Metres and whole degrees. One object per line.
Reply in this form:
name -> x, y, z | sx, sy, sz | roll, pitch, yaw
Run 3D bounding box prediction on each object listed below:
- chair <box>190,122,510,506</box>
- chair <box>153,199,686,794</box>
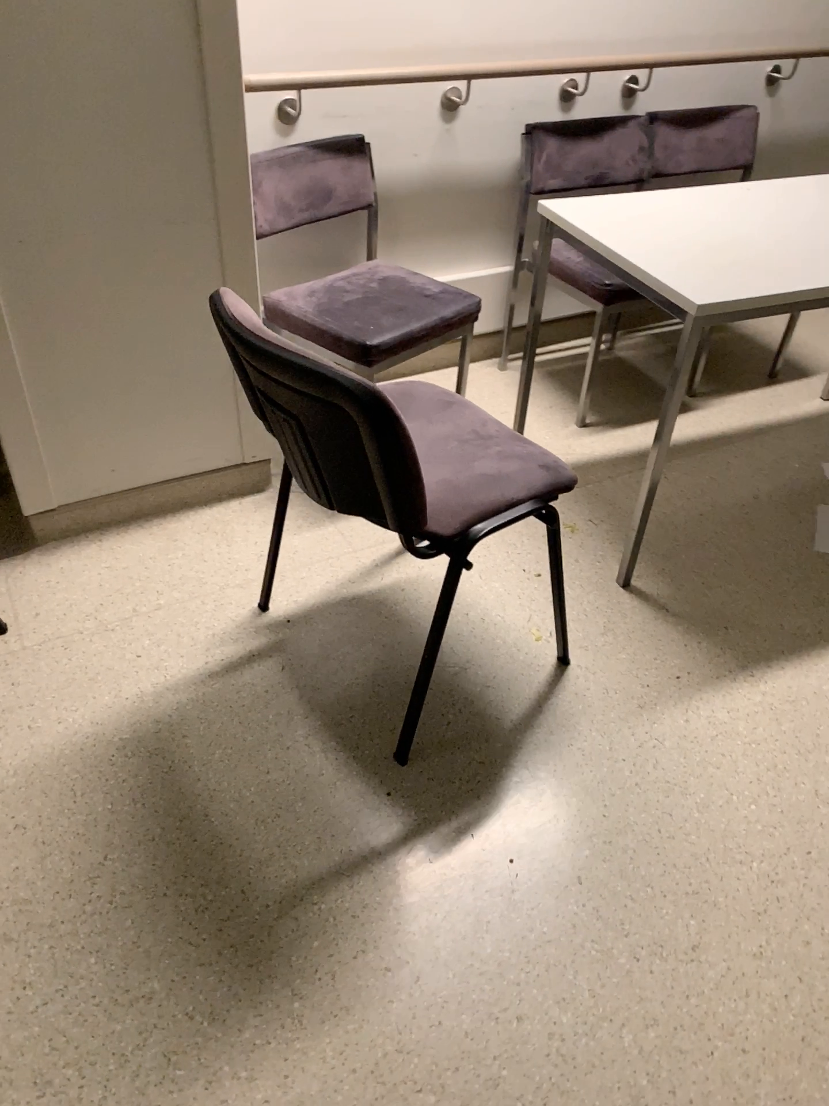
chair -> -0.165, -0.640, 2.200 | 0.563, 0.723, 0.503 | 32, 47, 31
chair -> -0.020, -0.139, 1.562 | 0.602, 0.752, 0.604 | -24, 46, -30
